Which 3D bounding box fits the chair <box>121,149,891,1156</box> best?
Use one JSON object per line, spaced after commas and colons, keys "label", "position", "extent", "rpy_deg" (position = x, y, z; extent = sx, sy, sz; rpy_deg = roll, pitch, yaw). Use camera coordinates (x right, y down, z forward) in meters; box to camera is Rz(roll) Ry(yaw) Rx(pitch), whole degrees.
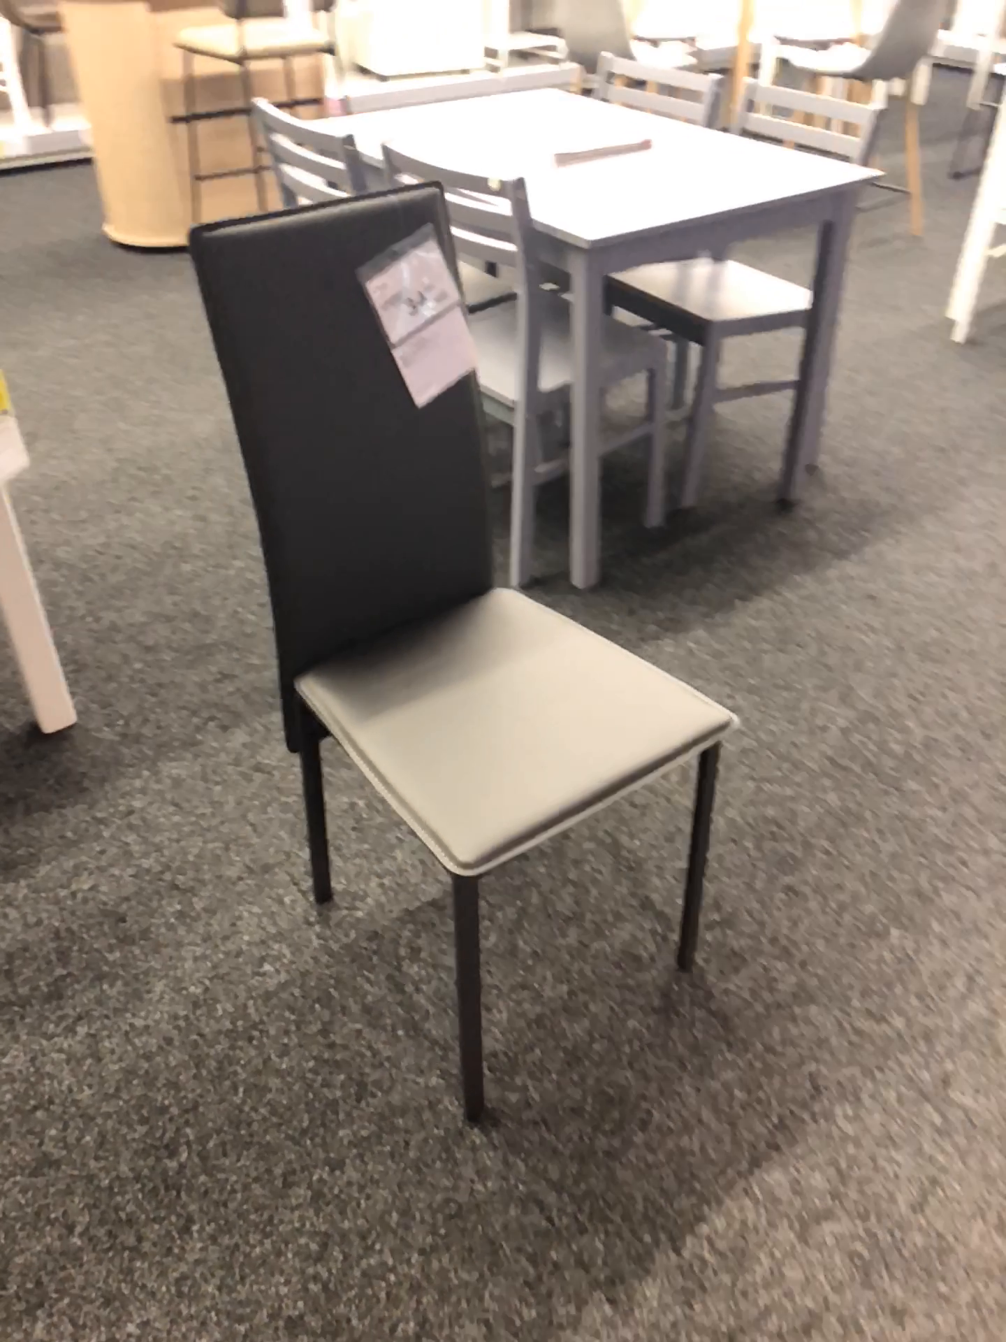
{"label": "chair", "position": [-0.019, -0.028, 1.301], "extent": [0.472, 0.935, 0.561], "rpy_deg": [-25, 43, -29]}
